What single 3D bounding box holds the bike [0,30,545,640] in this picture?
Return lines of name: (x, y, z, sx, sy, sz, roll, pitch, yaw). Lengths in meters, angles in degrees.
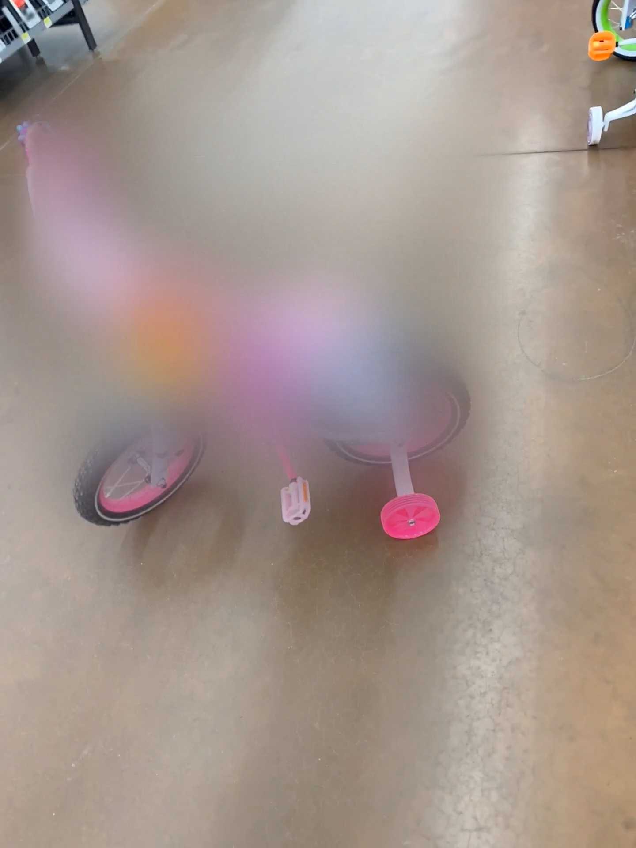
bike: (-0.122, -0.082, 1.102, 0.776, 0.707, 0.429, -17, 47, 3)
